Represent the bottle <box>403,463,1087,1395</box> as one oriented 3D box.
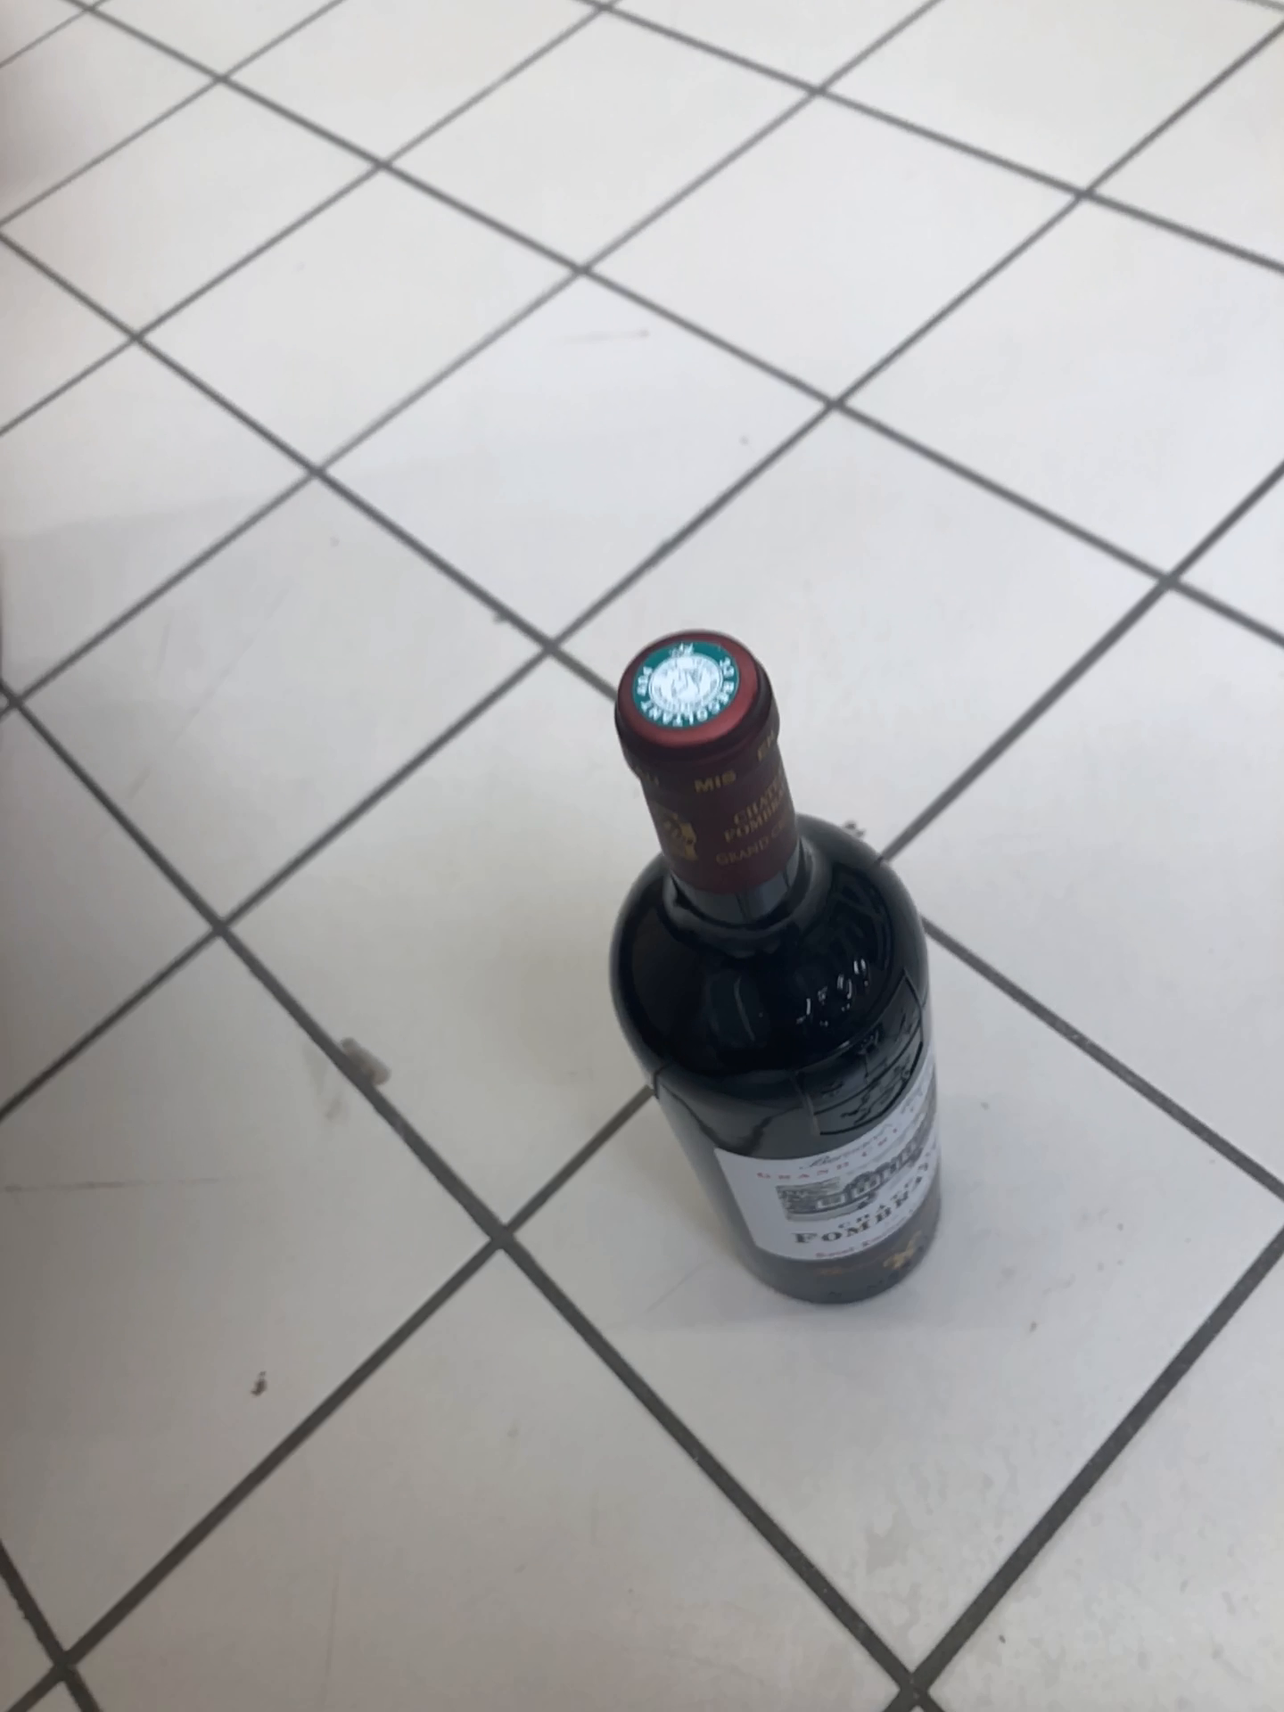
[{"bbox_3d":[0.044,0.048,0.383,0.090,0.289,0.090,-6,57,9],"label":"bottle"}]
